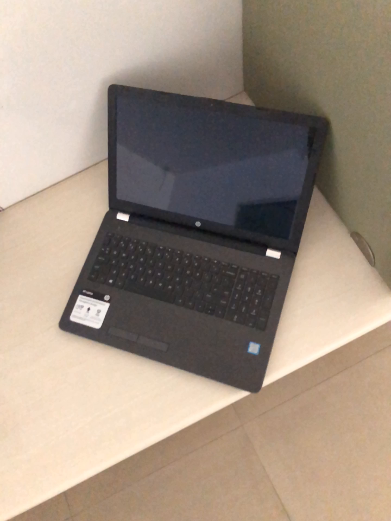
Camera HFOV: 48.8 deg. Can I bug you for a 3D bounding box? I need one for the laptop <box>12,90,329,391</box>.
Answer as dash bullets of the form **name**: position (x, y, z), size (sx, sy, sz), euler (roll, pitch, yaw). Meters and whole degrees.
- **laptop**: position (-0.021, -0.045, 0.717), size (0.366, 0.168, 0.394), euler (15, 71, 15)
